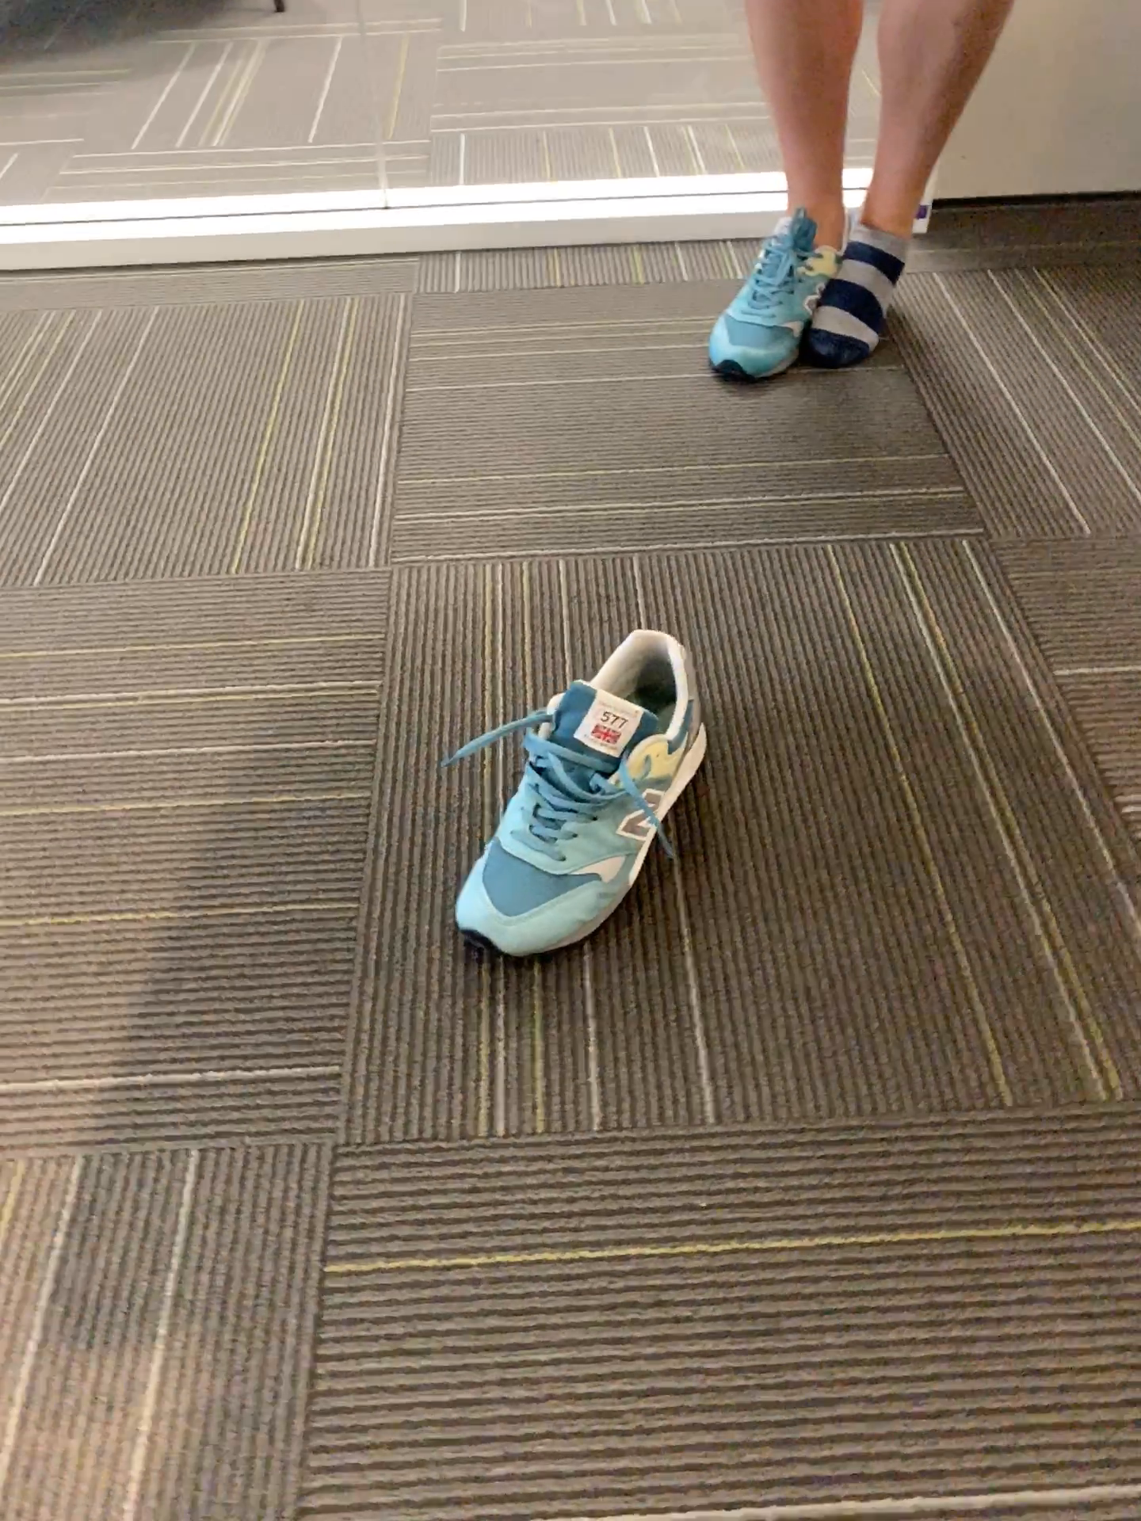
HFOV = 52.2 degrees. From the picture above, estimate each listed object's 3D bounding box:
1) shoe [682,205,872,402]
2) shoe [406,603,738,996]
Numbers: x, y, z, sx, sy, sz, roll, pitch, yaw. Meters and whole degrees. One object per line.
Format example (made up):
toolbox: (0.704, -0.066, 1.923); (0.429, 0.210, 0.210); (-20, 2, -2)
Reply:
shoe: (0.255, -0.565, 1.424); (0.130, 0.098, 0.291); (19, 50, 19)
shoe: (0.012, 0.018, 0.902); (0.130, 0.098, 0.291); (19, 50, 19)
